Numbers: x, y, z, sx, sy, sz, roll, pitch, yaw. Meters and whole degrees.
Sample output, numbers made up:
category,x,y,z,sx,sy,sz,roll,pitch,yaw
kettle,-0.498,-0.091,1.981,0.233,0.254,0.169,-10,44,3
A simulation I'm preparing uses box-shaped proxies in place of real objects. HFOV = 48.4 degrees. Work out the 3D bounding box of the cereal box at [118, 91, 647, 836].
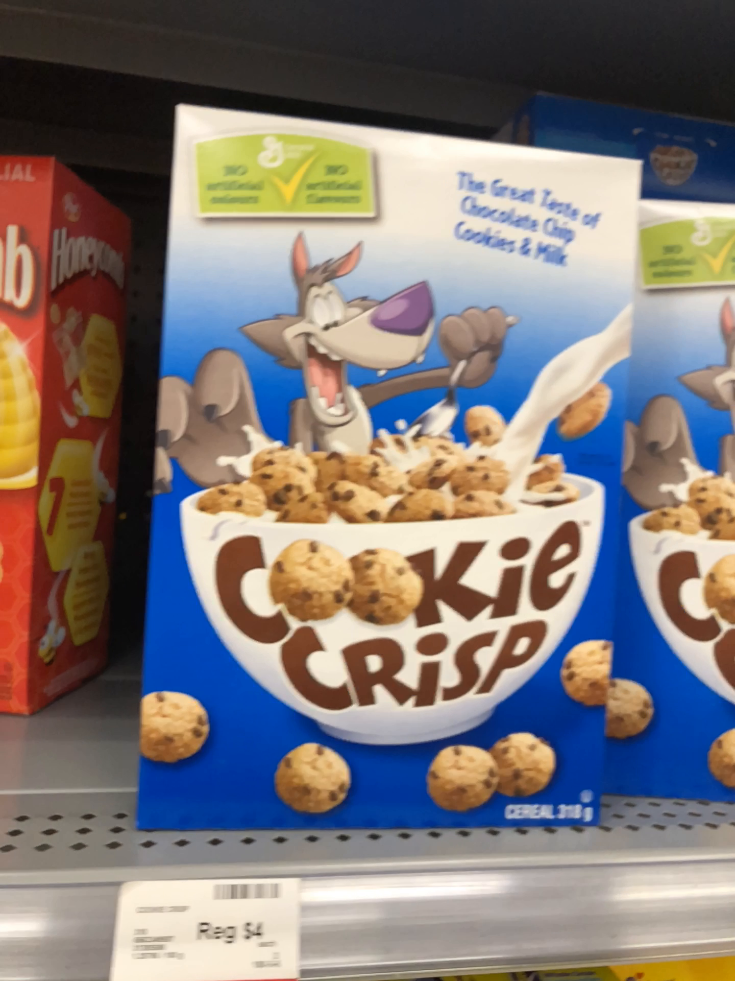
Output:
category,x,y,z,sx,sy,sz,roll,pitch,yaw
cereal box,0.006,-0.005,0.351,0.200,0.280,0.050,3,1,-11
